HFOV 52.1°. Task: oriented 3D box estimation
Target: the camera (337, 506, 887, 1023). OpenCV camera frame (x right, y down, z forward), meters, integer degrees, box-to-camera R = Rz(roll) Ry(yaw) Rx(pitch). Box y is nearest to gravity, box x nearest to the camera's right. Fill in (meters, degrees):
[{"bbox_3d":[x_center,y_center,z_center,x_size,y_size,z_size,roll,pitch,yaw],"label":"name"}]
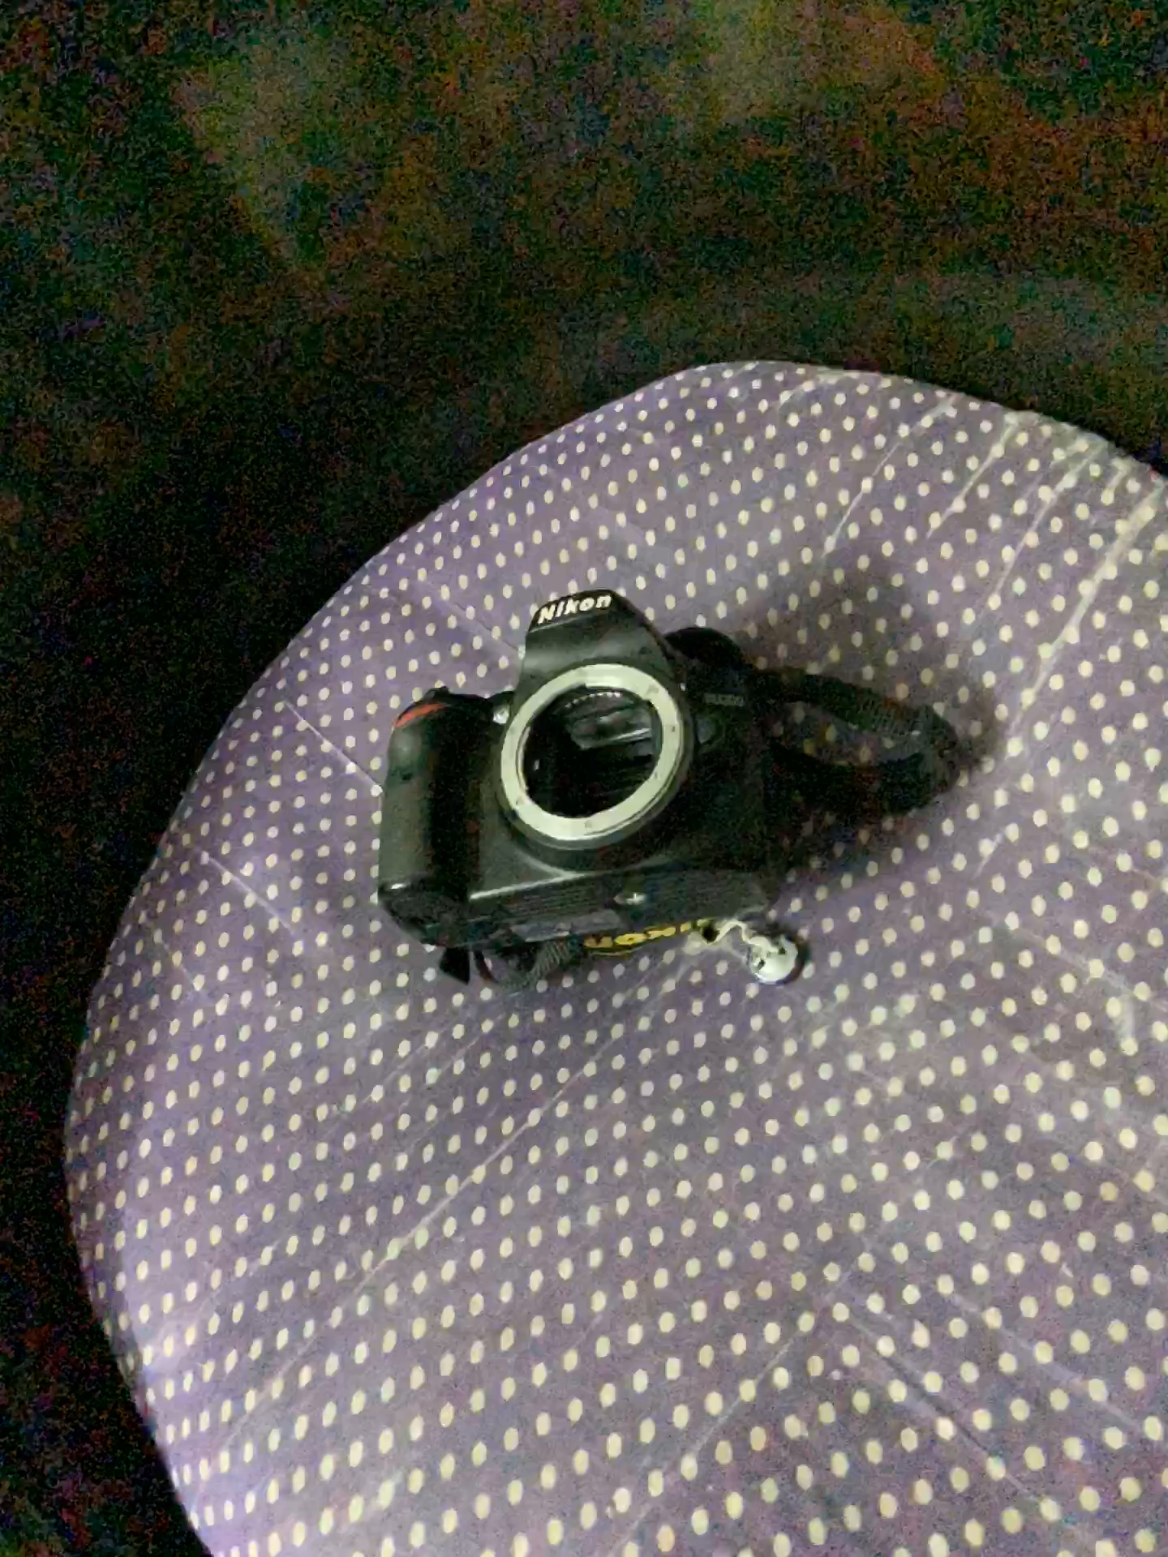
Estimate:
[{"bbox_3d":[0.008,0.002,0.366,0.140,0.080,0.110,-11,62,16],"label":"camera"}]
